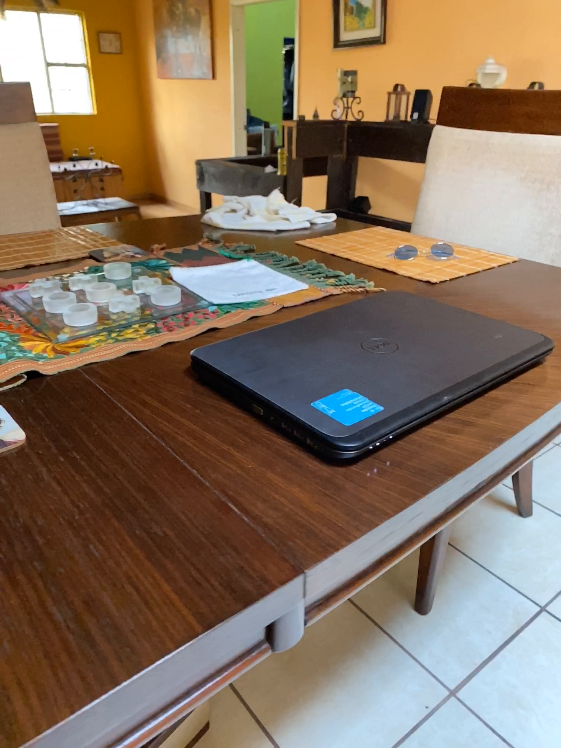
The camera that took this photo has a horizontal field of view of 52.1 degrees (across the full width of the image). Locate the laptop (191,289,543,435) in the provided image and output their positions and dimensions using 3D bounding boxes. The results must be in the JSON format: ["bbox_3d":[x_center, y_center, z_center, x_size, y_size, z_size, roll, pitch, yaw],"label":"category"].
[{"bbox_3d":[0.109,-0.038,0.685,0.353,0.001,0.248,-20,32,-36],"label":"laptop"}]
